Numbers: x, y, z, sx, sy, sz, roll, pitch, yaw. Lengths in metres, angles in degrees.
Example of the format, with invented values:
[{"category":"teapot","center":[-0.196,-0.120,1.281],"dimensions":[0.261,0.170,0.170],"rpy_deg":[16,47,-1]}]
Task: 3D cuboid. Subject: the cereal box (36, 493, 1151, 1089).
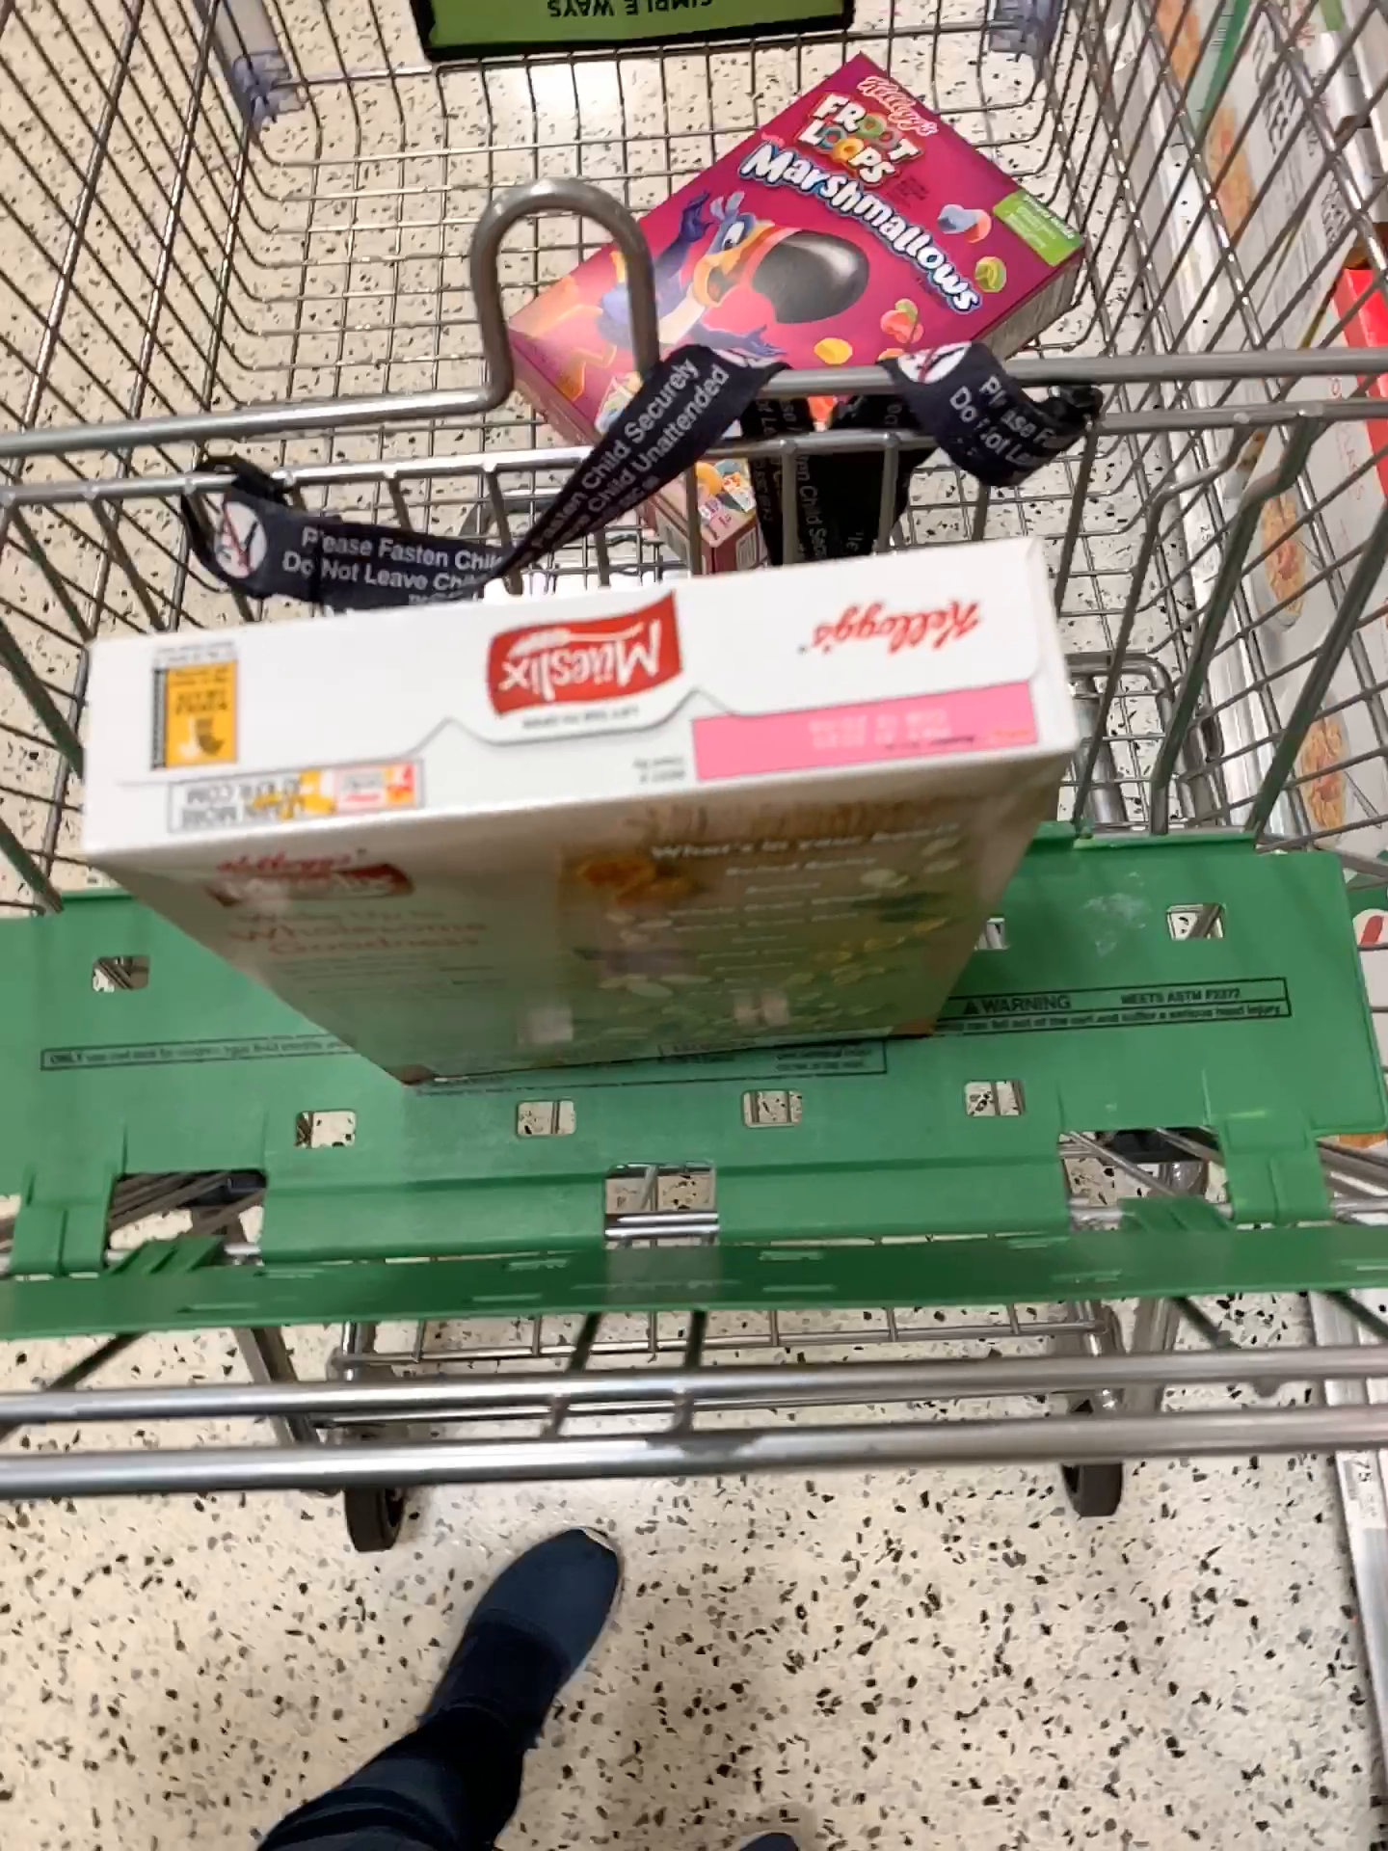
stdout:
[{"category":"cereal box","center":[-0.014,-0.011,0.367],"dimensions":[0.190,0.249,0.050],"rpy_deg":[-5,74,1]}]
